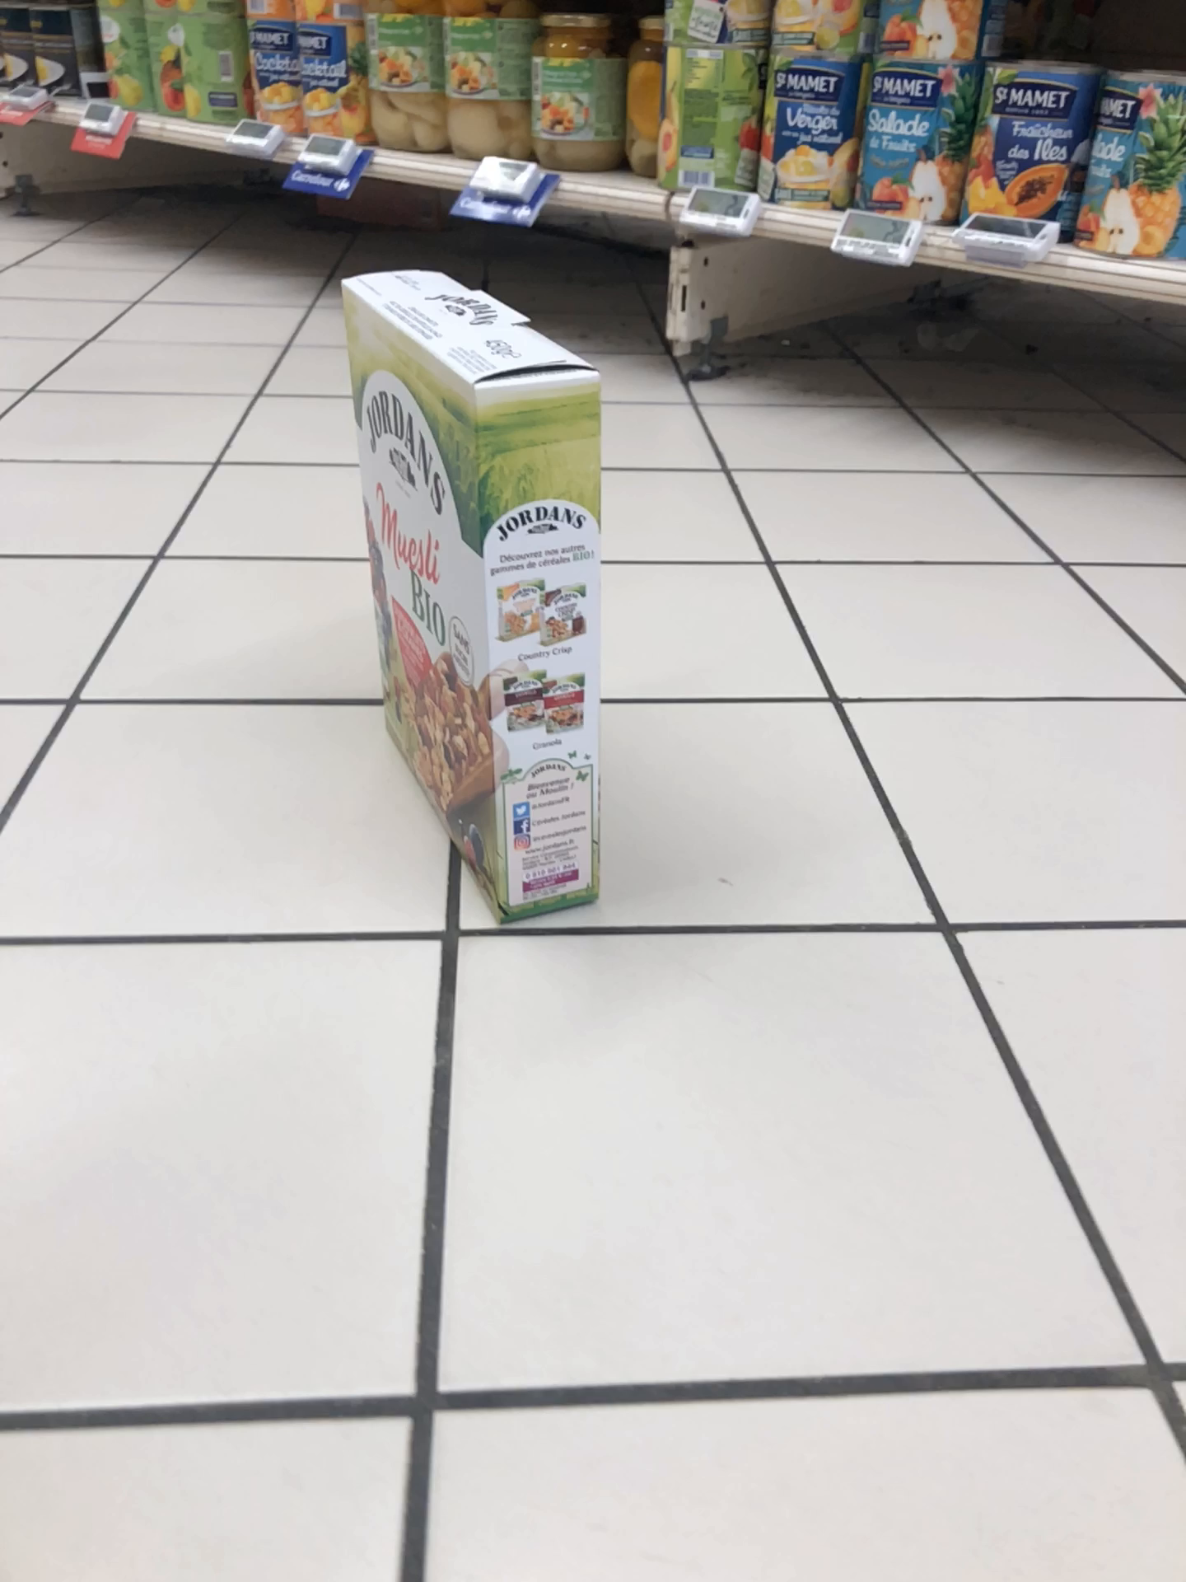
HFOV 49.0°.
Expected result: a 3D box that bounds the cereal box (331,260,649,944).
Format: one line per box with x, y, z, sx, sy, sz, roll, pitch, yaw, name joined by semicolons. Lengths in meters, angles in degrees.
-0.044;-0.085;0.540;0.060;0.219;0.191;-13;34;-19;cereal box
